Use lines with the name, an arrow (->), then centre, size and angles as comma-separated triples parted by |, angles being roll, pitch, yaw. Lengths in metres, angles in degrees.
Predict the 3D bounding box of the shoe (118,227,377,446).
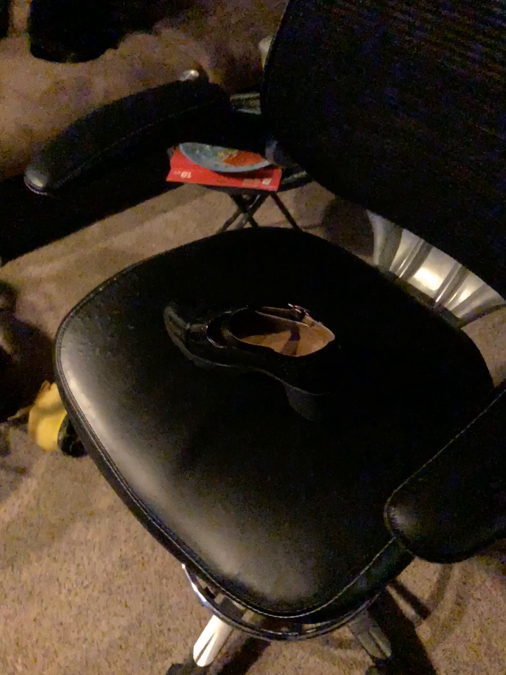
shoe -> -0.011, -0.011, 0.647 | 0.270, 0.100, 0.110 | 29, 55, 24
